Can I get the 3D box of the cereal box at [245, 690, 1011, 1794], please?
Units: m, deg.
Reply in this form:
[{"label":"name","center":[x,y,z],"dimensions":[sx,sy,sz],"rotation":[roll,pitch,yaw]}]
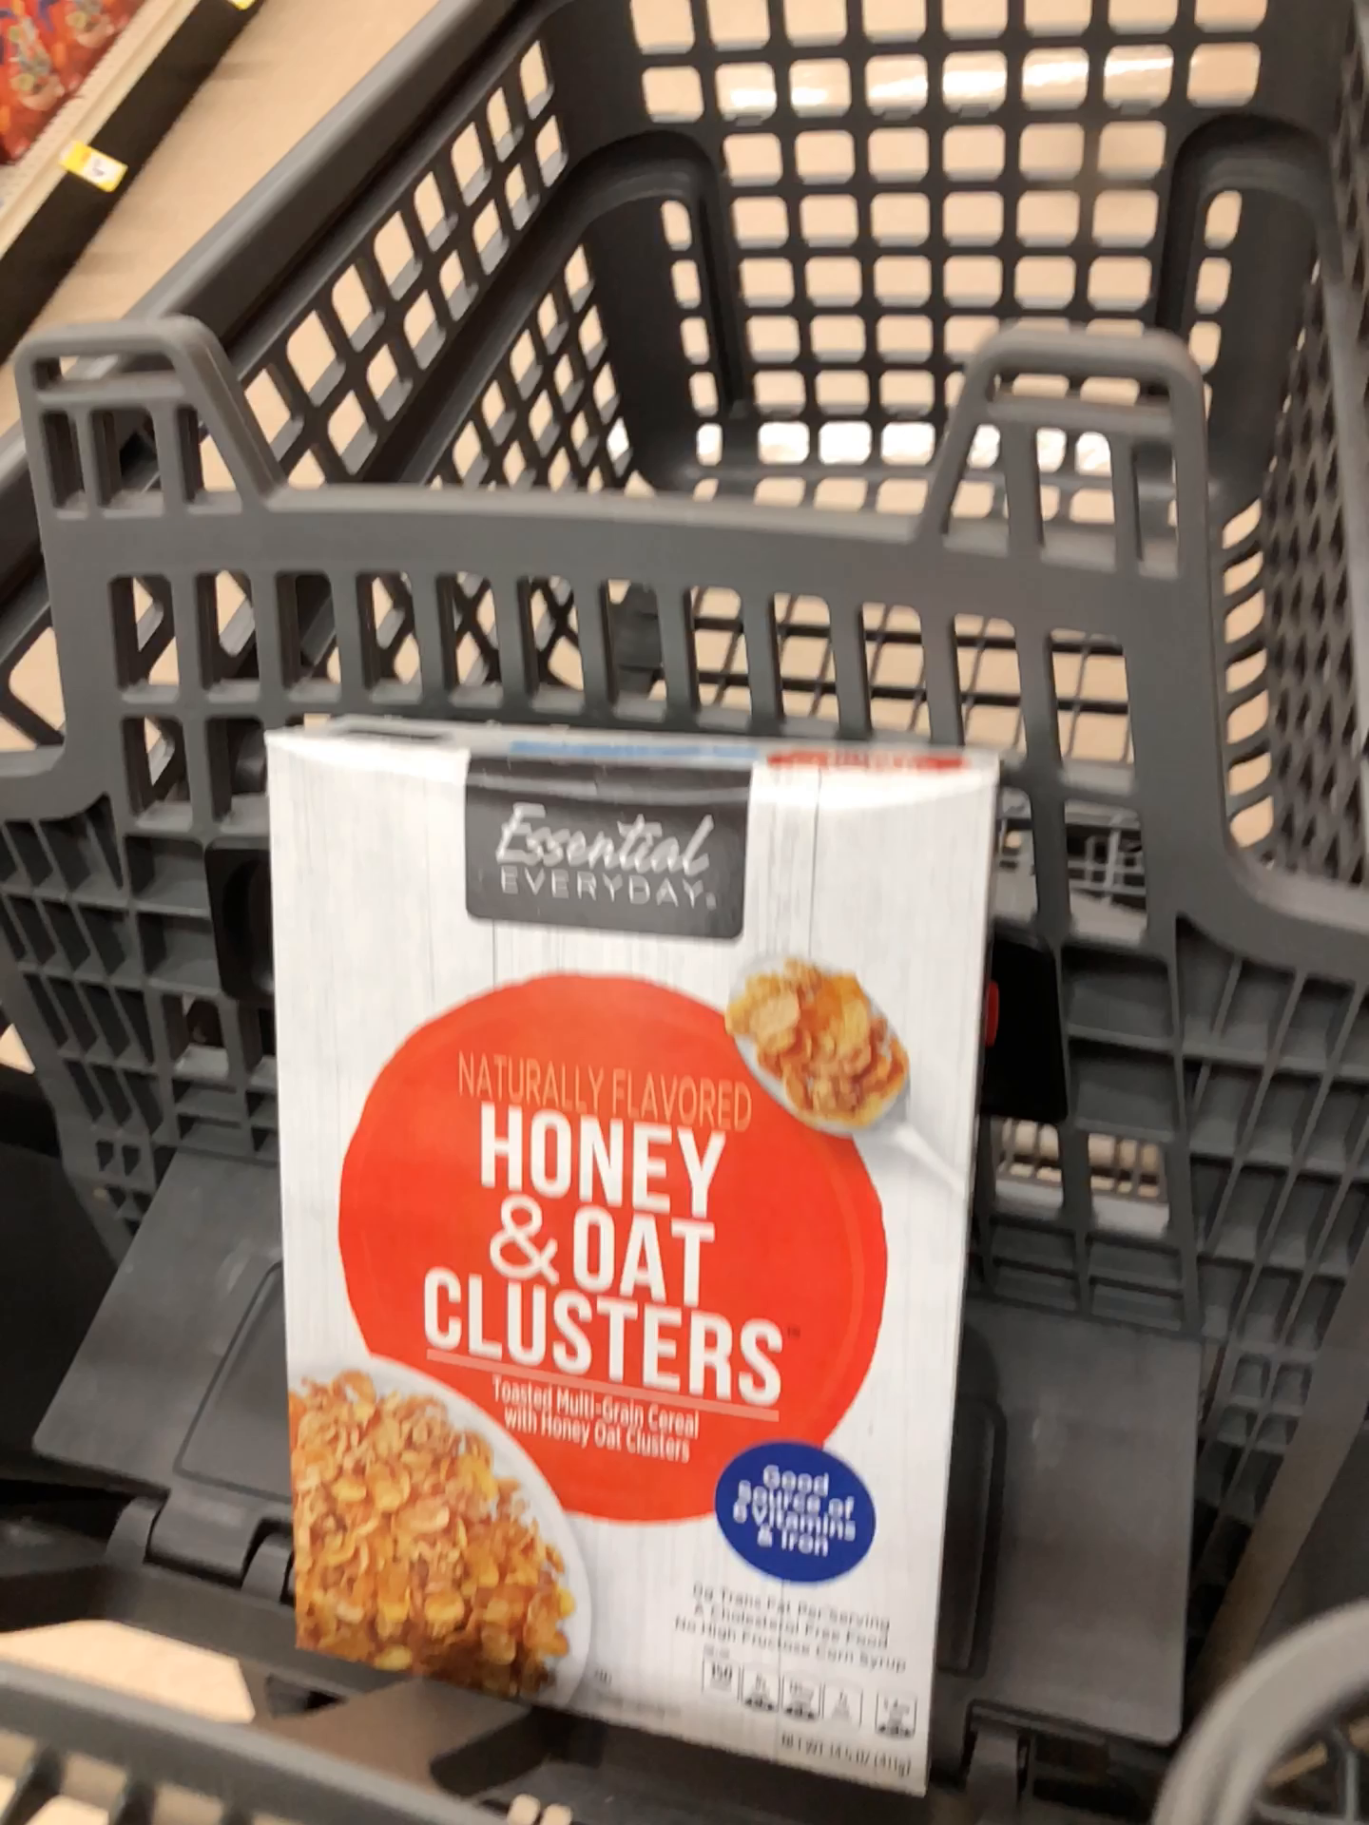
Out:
[{"label":"cereal box","center":[-0.016,0.085,0.431],"dimensions":[0.190,0.280,0.070],"rotation":[5,14,15]}]
